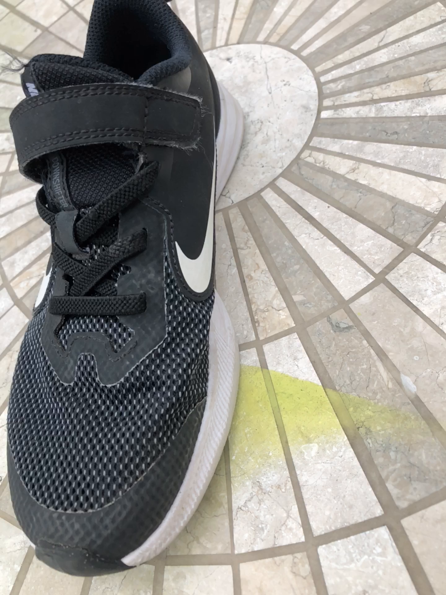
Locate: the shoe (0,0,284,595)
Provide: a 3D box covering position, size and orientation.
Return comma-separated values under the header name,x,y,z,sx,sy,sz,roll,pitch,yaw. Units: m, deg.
name,x,y,z,sx,sy,sz,roll,pitch,yaw
shoe,-0.043,-0.024,0.198,0.100,0.100,0.251,-4,63,21
